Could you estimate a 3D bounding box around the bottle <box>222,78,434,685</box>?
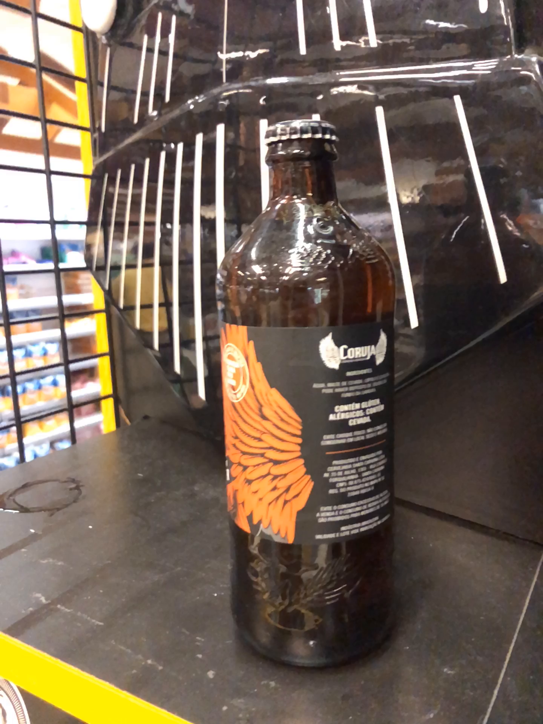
[{"bbox_3d":[0.025,0.009,0.253,0.070,0.219,0.070,-1,9,0],"label":"bottle"}]
